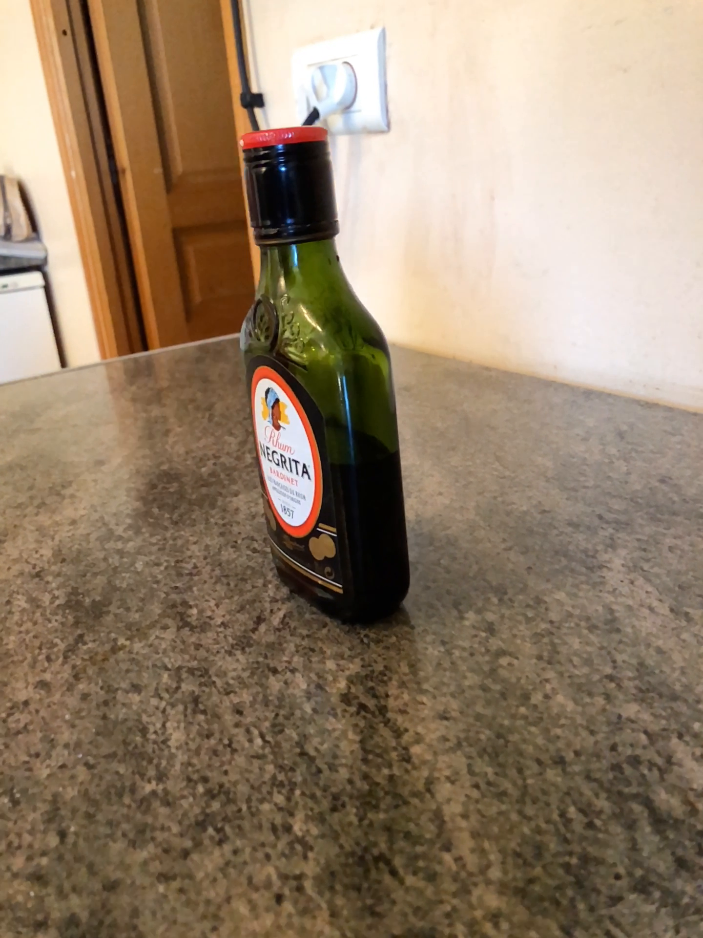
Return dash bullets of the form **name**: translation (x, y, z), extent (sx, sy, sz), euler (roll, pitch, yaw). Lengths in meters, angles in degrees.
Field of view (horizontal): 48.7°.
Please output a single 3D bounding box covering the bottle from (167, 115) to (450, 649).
- **bottle**: translation (-0.014, -0.032, 0.273), extent (0.050, 0.159, 0.080), euler (-17, 23, -30)
